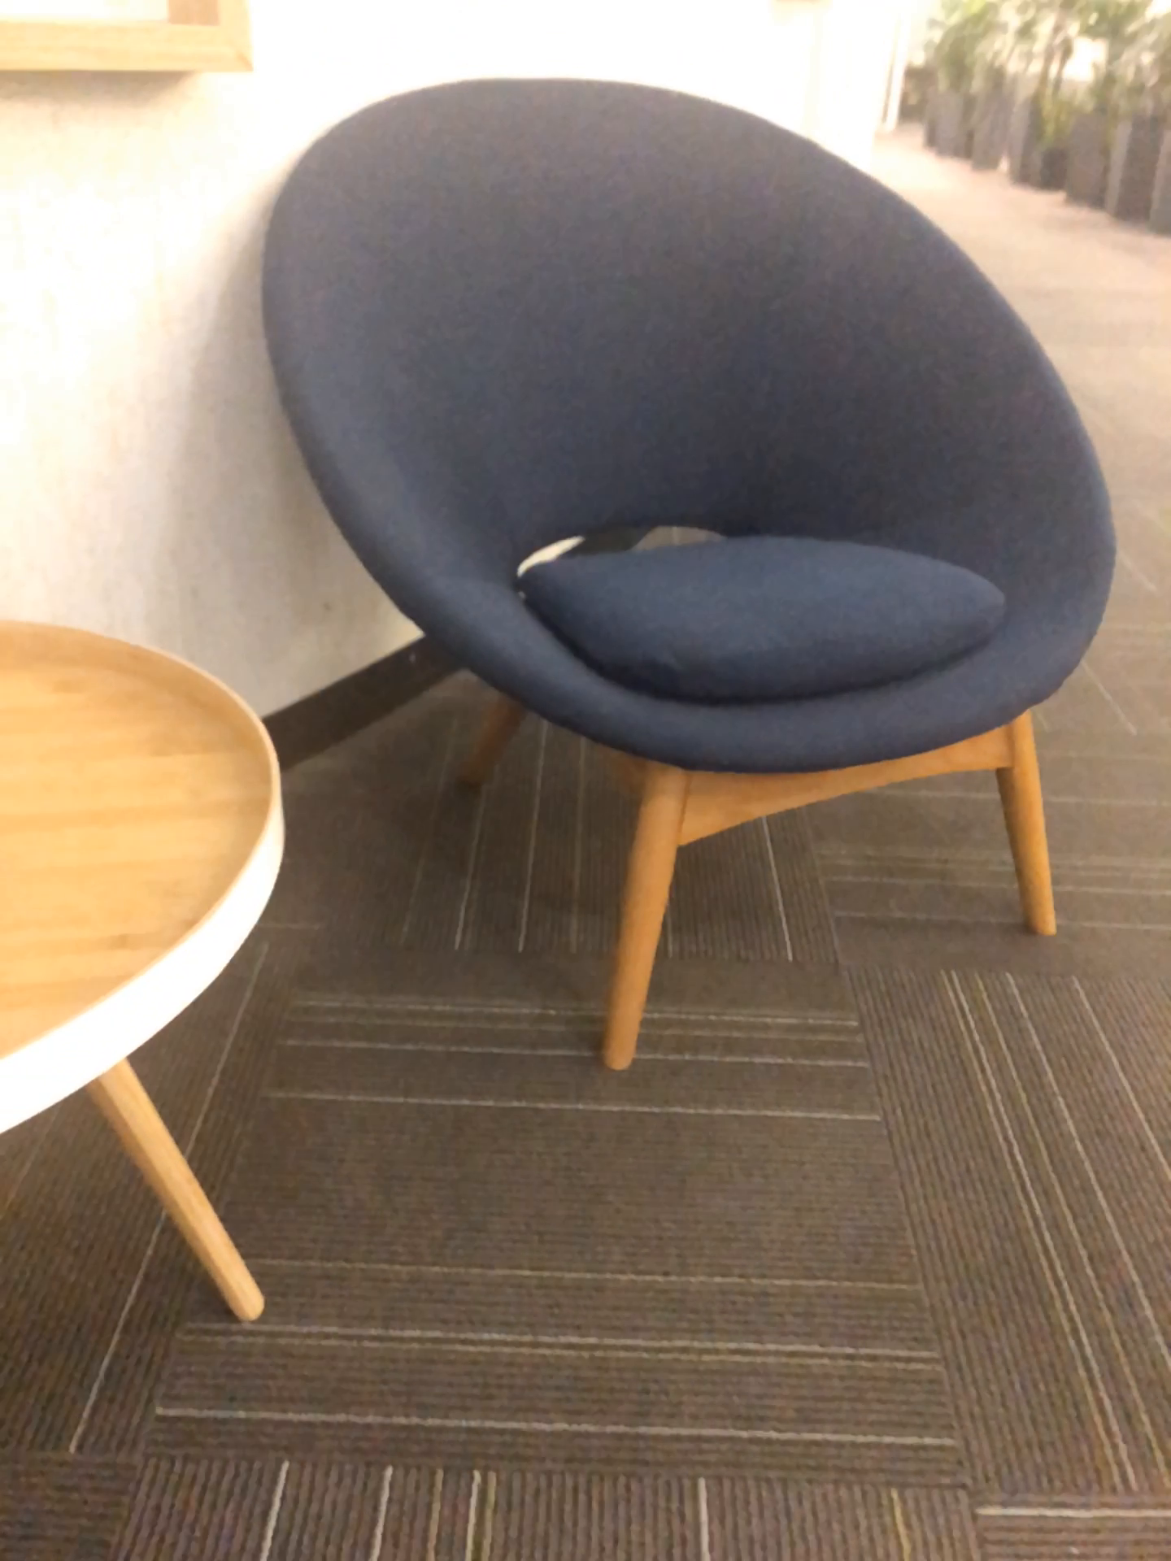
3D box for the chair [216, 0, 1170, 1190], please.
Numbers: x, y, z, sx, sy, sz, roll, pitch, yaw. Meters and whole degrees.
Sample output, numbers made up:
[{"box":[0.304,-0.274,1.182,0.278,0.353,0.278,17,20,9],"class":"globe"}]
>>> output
[{"box":[0.122,-0.339,1.552,0.892,0.994,1.004,-9,25,-19],"class":"chair"}]
